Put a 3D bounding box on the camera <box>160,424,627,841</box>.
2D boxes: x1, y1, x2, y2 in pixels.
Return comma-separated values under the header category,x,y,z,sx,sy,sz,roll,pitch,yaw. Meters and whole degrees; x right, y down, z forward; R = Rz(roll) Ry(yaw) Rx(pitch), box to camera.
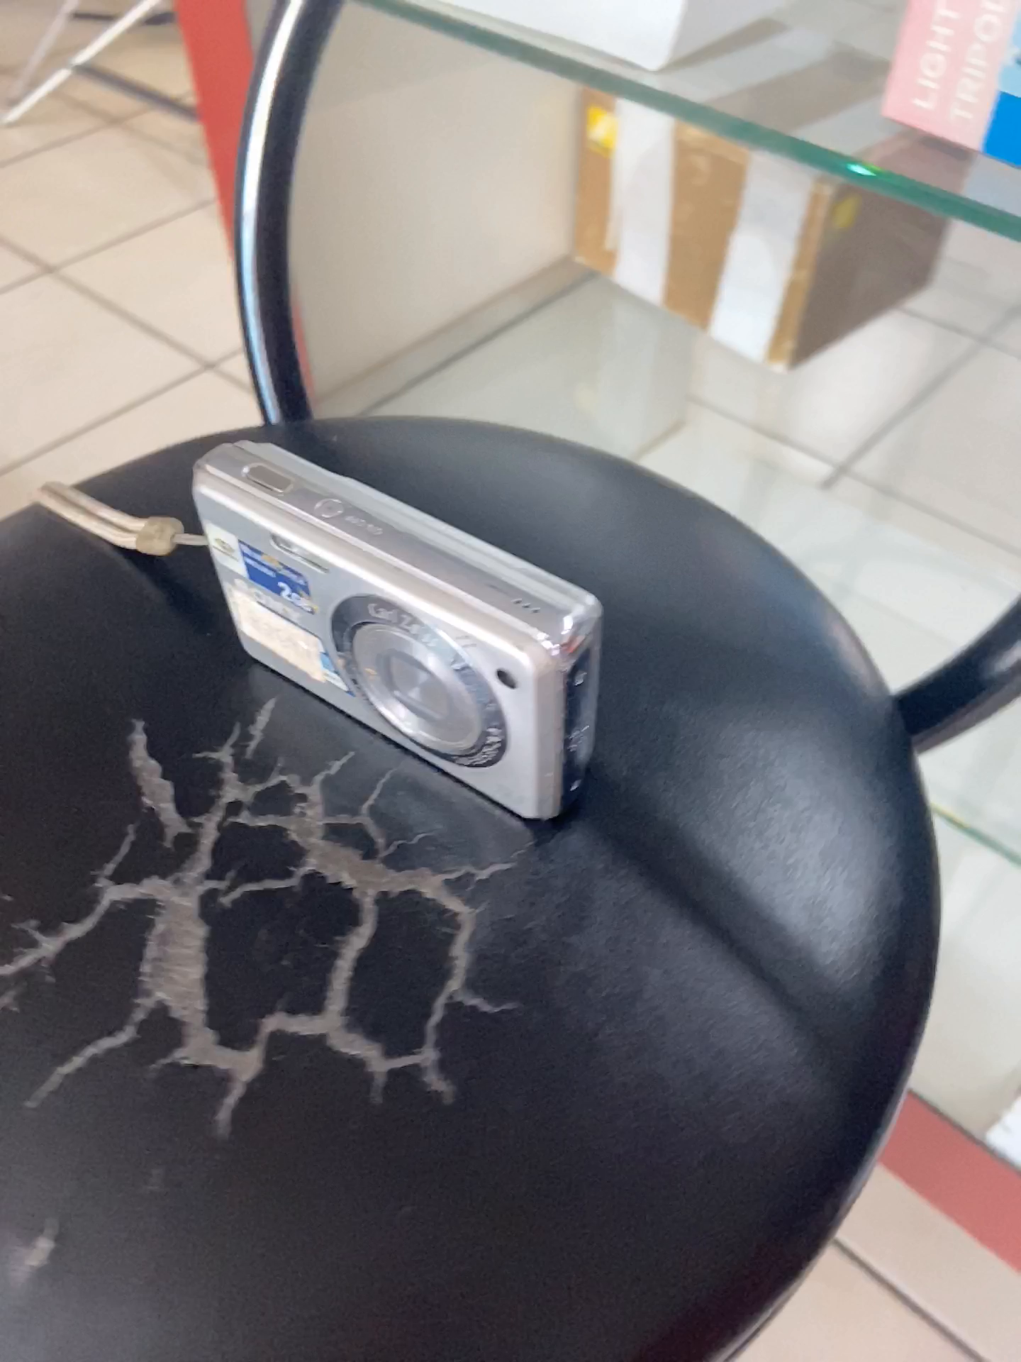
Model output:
category,x,y,z,sx,sy,sz,roll,pitch,yaw
camera,-0.025,-0.012,0.218,0.093,0.044,0.026,28,54,23
